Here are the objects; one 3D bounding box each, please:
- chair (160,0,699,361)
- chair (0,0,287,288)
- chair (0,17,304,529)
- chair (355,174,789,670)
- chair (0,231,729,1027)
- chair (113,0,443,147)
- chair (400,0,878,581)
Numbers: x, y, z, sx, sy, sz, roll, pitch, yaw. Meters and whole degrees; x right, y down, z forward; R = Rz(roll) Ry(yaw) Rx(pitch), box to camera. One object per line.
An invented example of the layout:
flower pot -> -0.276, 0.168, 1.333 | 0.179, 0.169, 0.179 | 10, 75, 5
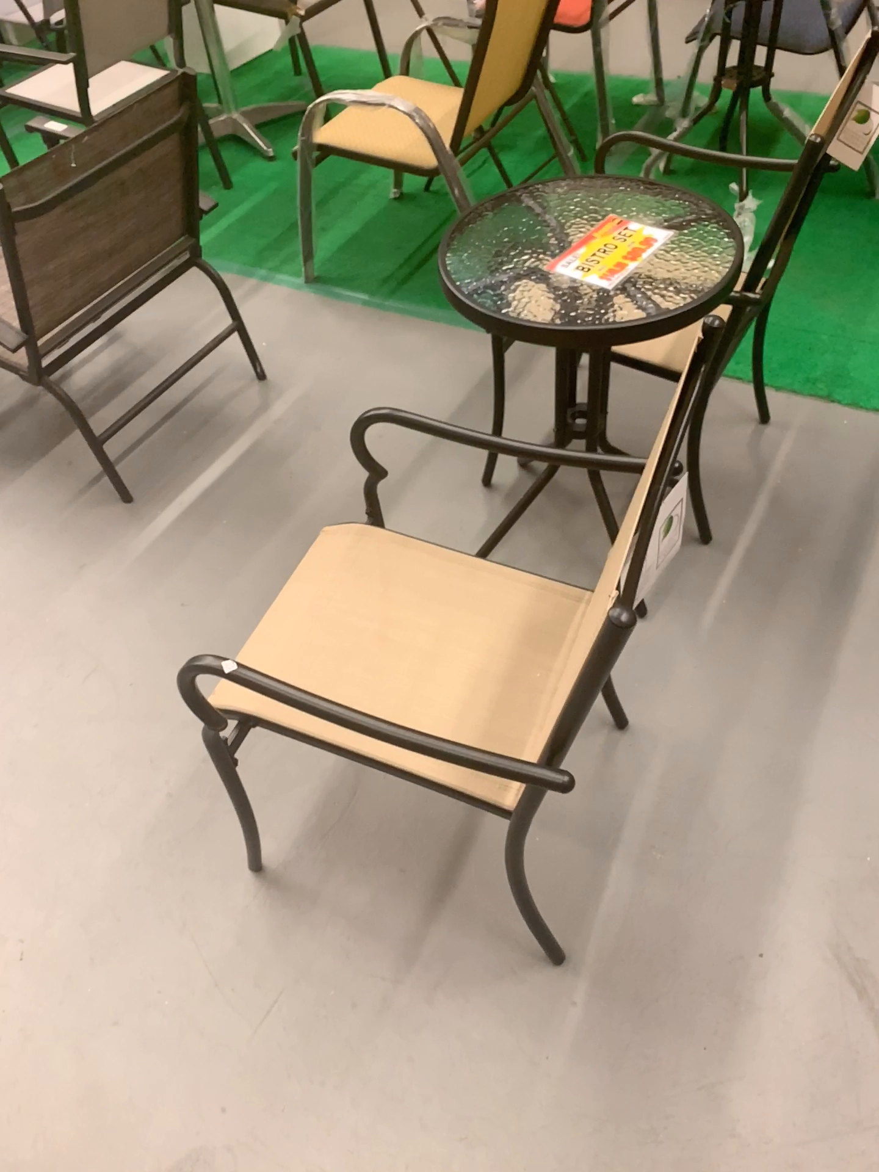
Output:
chair -> 0.029, -1.370, 2.490 | 1.027, 0.982, 0.807 | 19, 53, 22
chair -> -1.161, -1.663, 2.991 | 0.886, 0.923, 0.676 | 19, 53, 22
chair -> -0.955, -0.765, 2.137 | 0.886, 0.803, 0.676 | 19, 53, 22
chair -> 0.256, -0.313, 1.689 | 0.546, 0.634, 0.526 | 18, 53, 21
chair -> -0.024, 0.083, 1.255 | 0.616, 0.863, 0.576 | 13, 51, 18
chair -> -0.571, -2.367, 3.522 | 0.886, 0.873, 0.676 | 19, 53, 22
chair -> 0.420, -0.628, 1.792 | 0.676, 0.923, 0.616 | 18, 53, 22
